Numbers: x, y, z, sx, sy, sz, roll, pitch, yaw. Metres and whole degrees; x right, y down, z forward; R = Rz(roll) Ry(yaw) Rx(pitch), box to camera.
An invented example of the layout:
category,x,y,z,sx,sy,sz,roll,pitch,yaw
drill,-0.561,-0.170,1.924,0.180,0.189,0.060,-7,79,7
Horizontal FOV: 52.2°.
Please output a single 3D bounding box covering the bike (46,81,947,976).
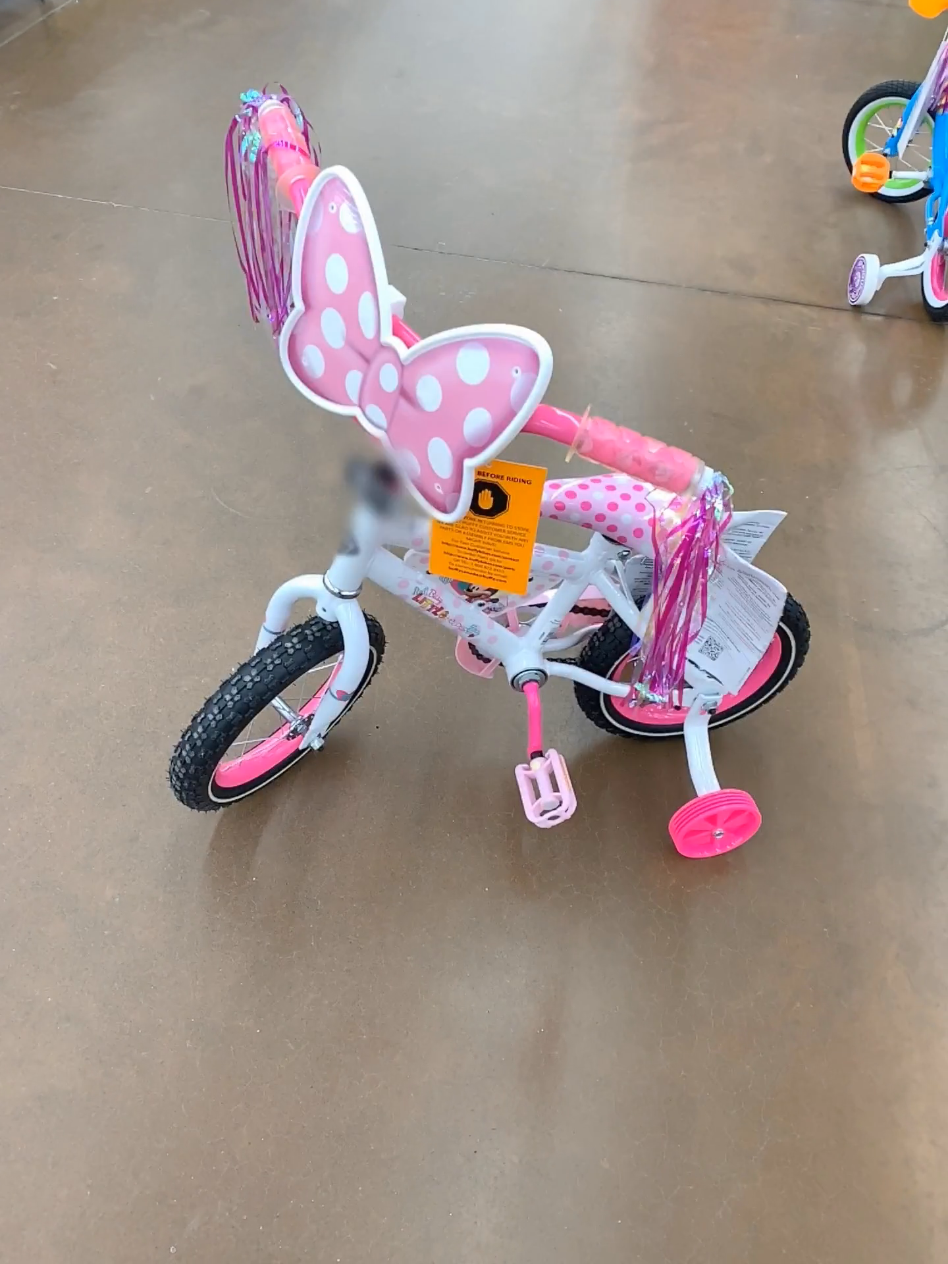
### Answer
category,x,y,z,sx,sy,sz,roll,pitch,yaw
bike,0.037,-0.099,0.999,0.725,0.648,0.503,-11,49,-12
